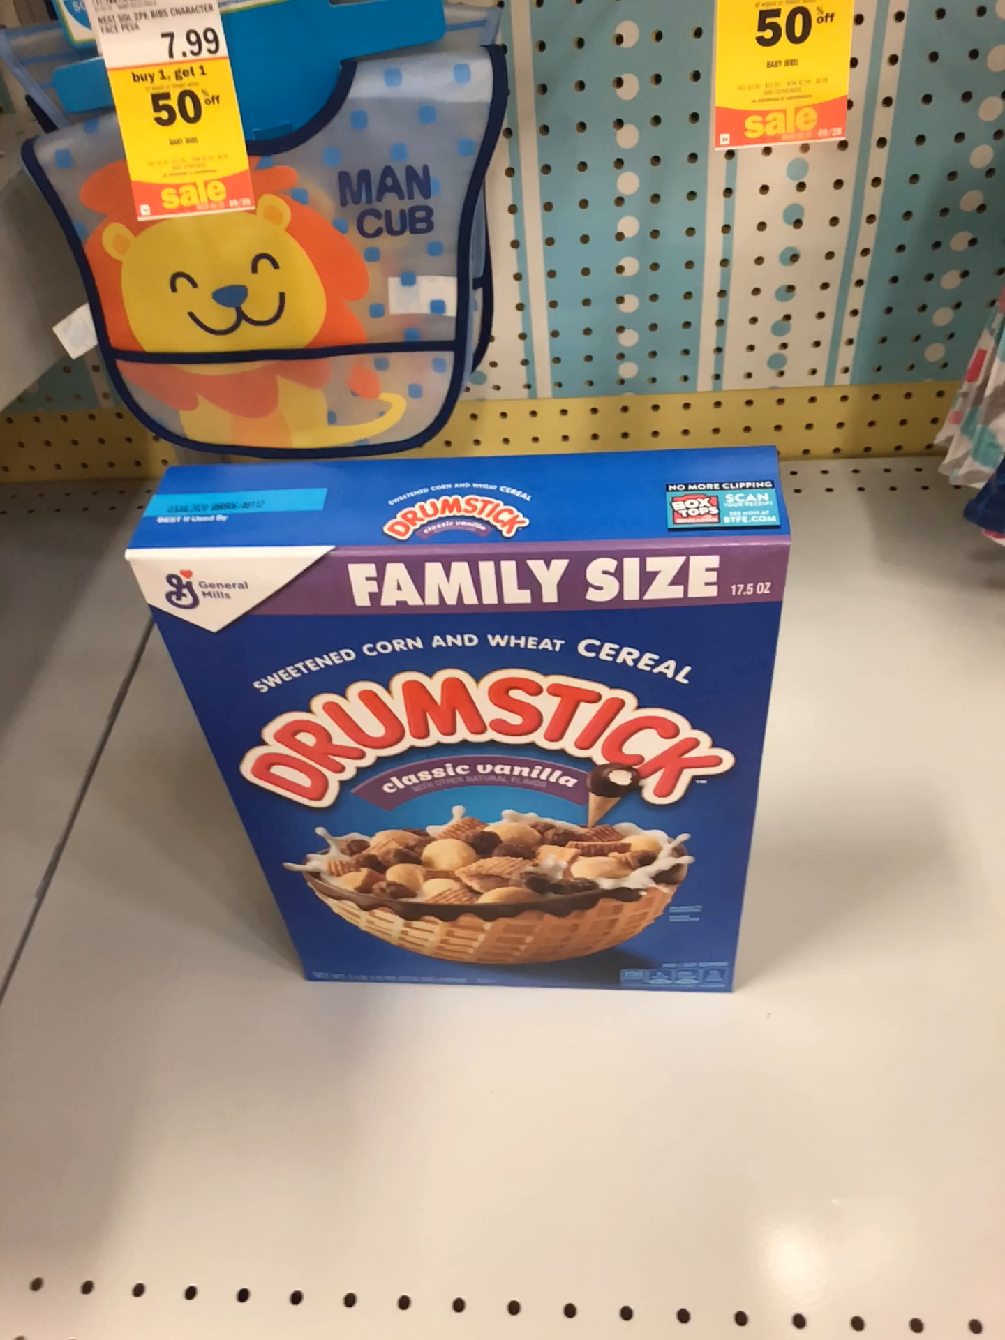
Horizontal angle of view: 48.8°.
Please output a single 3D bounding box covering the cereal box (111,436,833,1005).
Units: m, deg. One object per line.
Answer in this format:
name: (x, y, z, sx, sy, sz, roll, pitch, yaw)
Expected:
cereal box: (0.001, 0.044, 0.510, 0.250, 0.300, 0.070, -1, 45, 7)
